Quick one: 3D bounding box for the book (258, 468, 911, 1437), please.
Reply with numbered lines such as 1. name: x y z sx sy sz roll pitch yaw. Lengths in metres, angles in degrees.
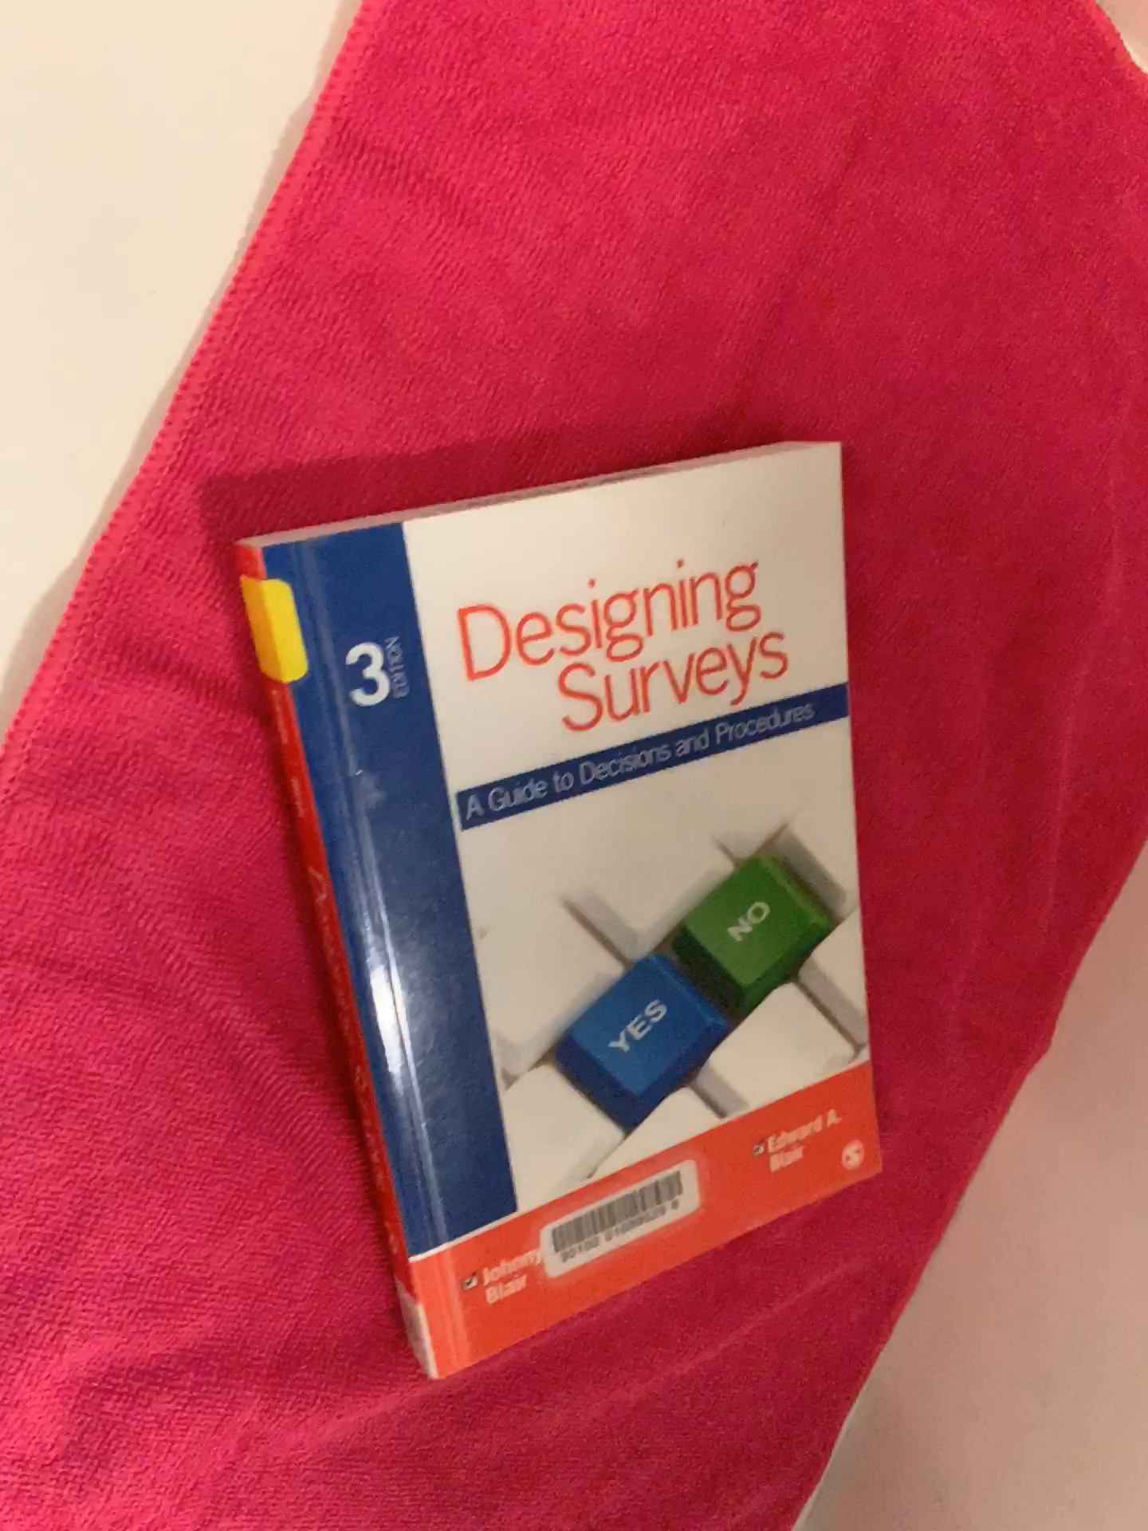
1. book: 0.020 0.049 0.323 0.161 0.026 0.230 -17 112 -24
